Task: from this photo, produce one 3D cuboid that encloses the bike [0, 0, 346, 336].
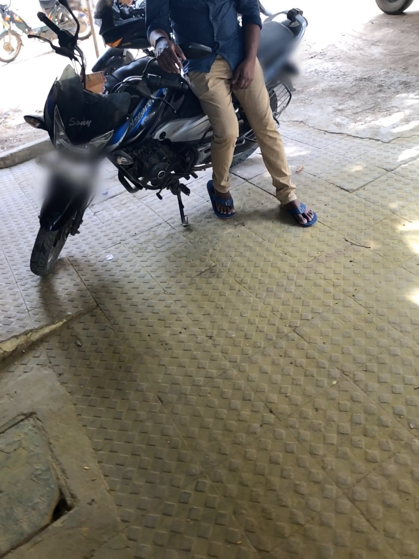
[{"bbox_3d":[-0.163,-0.817,2.316,1.749,1.175,0.785,-39,45,-26],"label":"bike"}]
